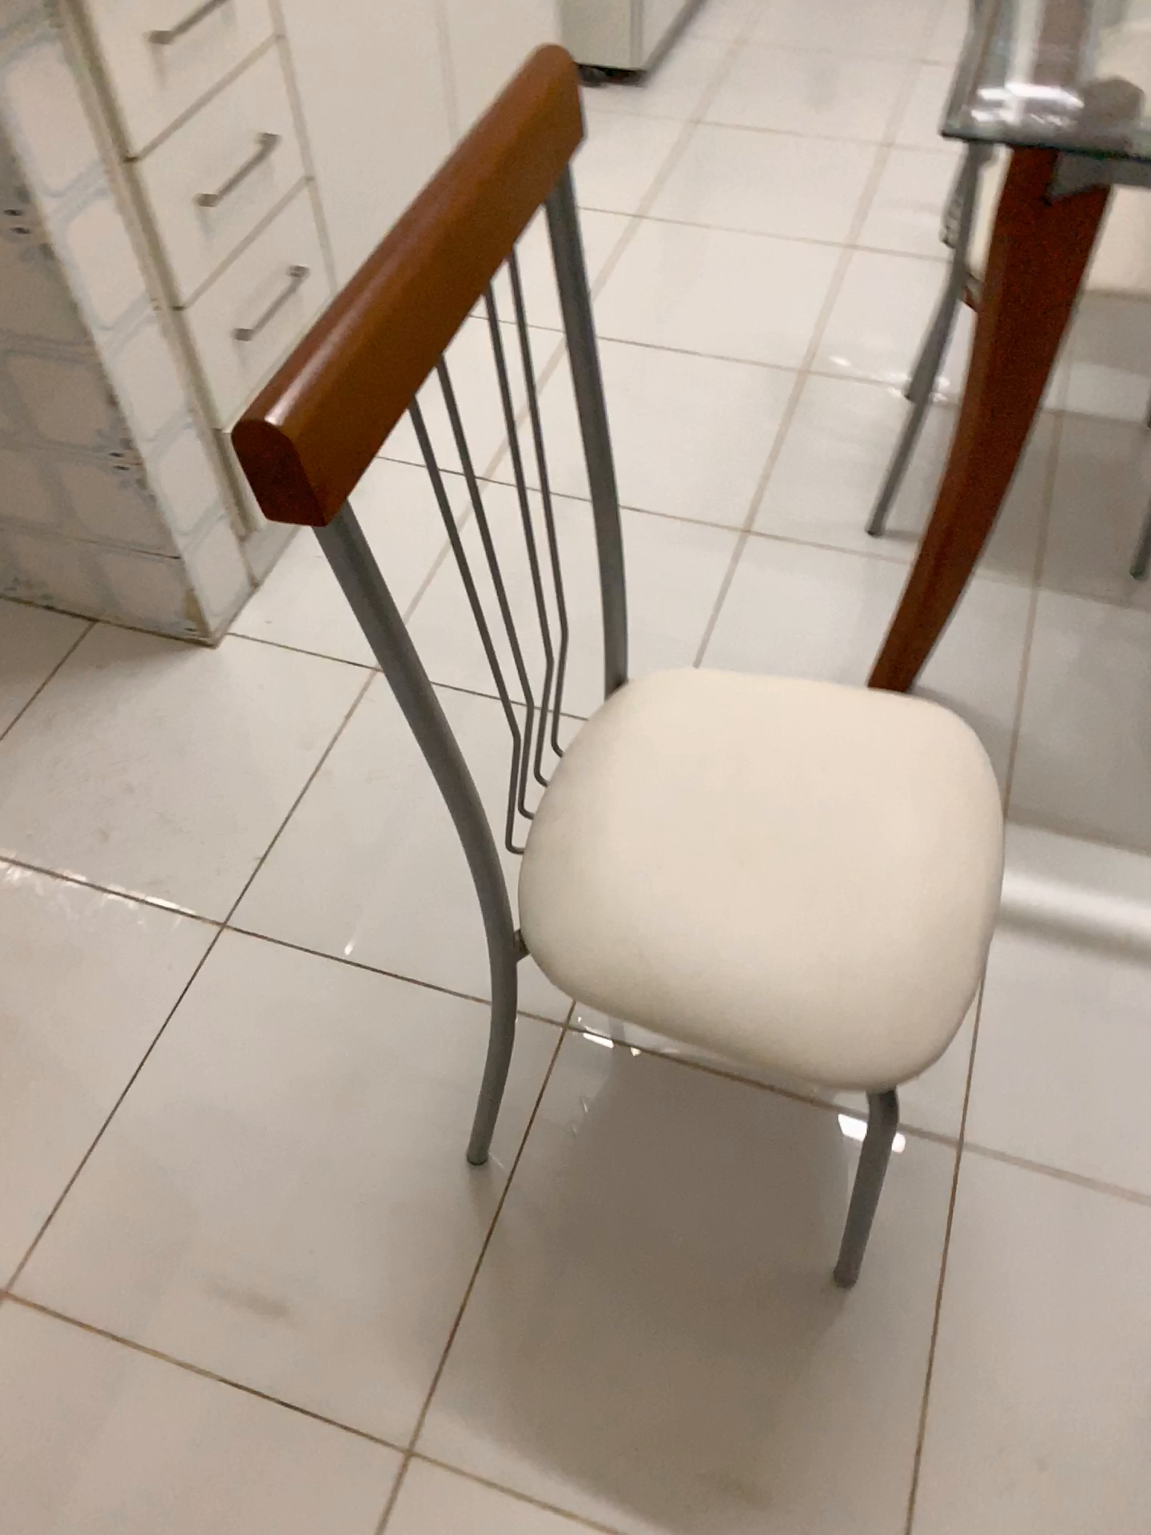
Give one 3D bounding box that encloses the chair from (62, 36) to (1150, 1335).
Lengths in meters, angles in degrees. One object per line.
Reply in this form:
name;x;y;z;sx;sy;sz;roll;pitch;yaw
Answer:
chair;0.106;0.020;0.948;0.510;0.886;0.482;14;54;13
